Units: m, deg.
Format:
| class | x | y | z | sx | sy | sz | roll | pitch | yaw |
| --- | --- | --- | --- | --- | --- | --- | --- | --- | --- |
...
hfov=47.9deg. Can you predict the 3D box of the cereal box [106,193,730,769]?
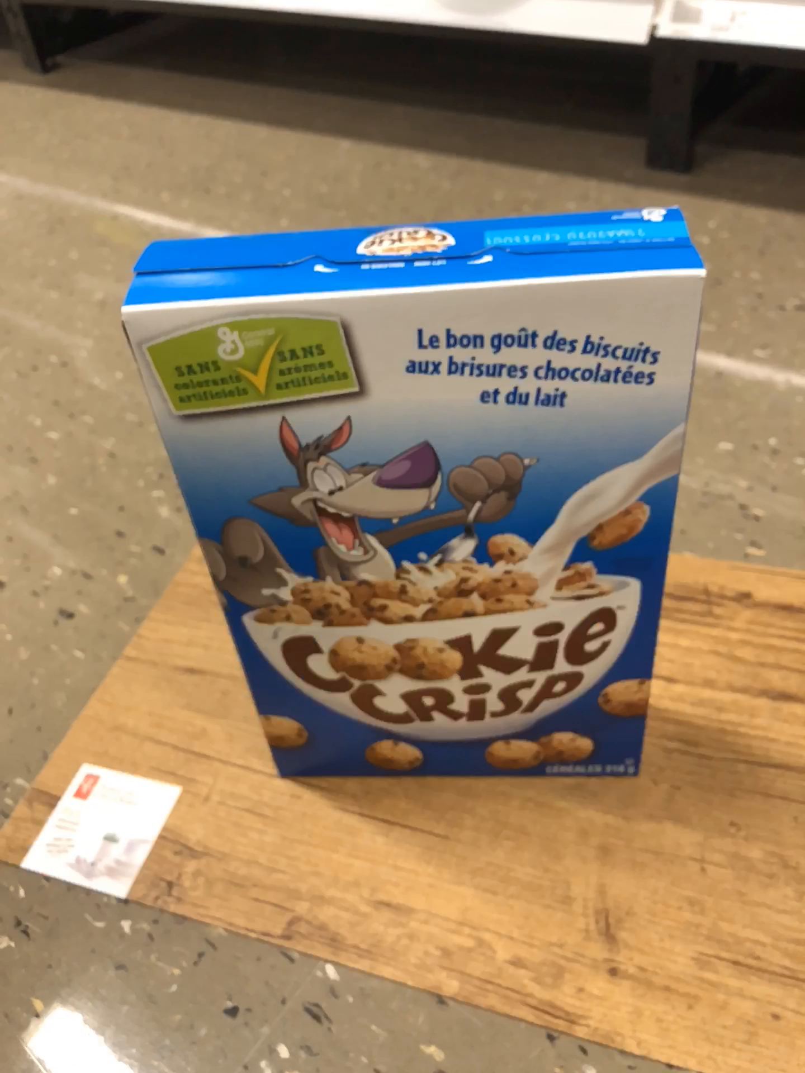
| class | x | y | z | sx | sy | sz | roll | pitch | yaw |
| --- | --- | --- | --- | --- | --- | --- | --- | --- | --- |
| cereal box | 0.016 | 0.001 | 0.402 | 0.200 | 0.269 | 0.060 | -2 | 43 | 6 |
